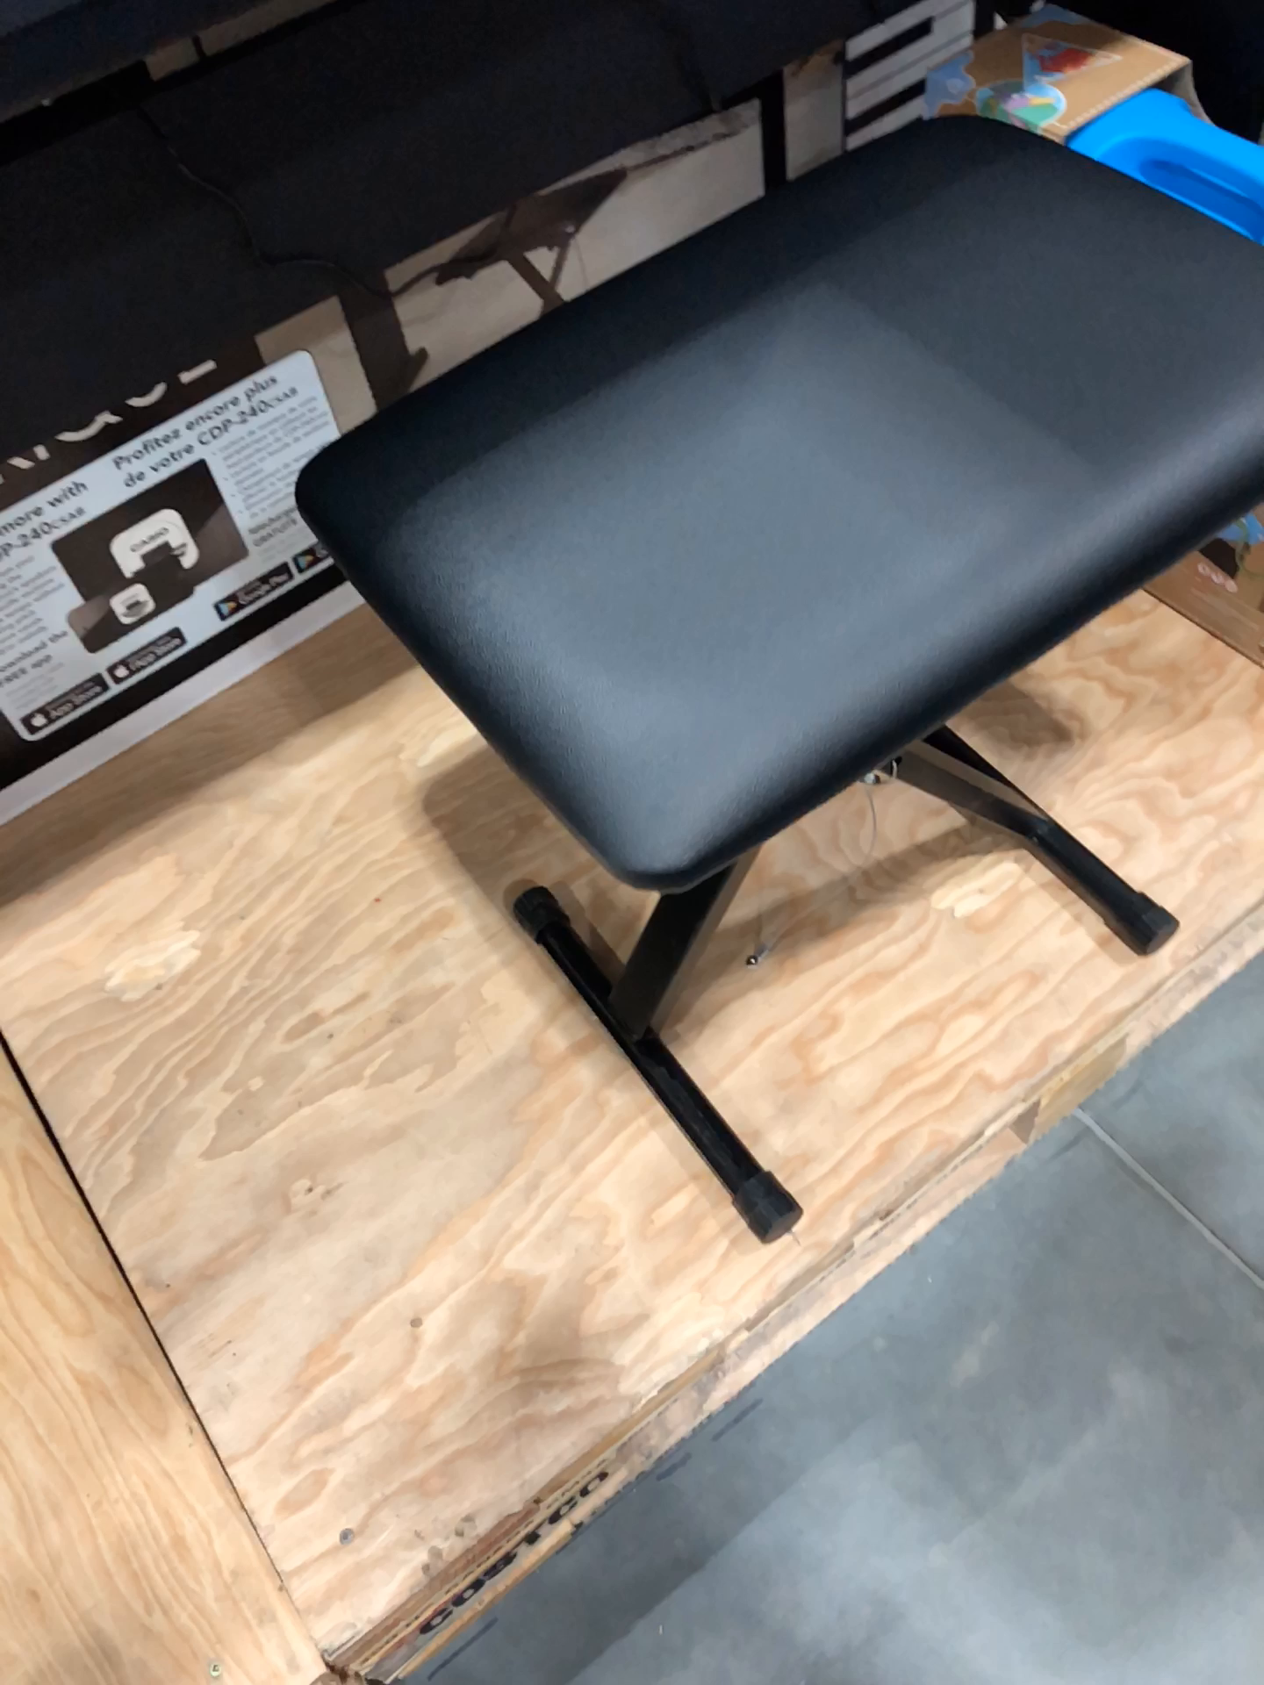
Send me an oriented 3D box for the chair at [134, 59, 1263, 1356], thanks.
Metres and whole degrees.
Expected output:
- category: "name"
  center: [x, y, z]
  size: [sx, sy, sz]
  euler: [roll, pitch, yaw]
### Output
- category: "chair"
  center: [0.108, -0.091, 0.701]
  size: [0.510, 0.279, 0.371]
  euler: [-33, 57, -15]
